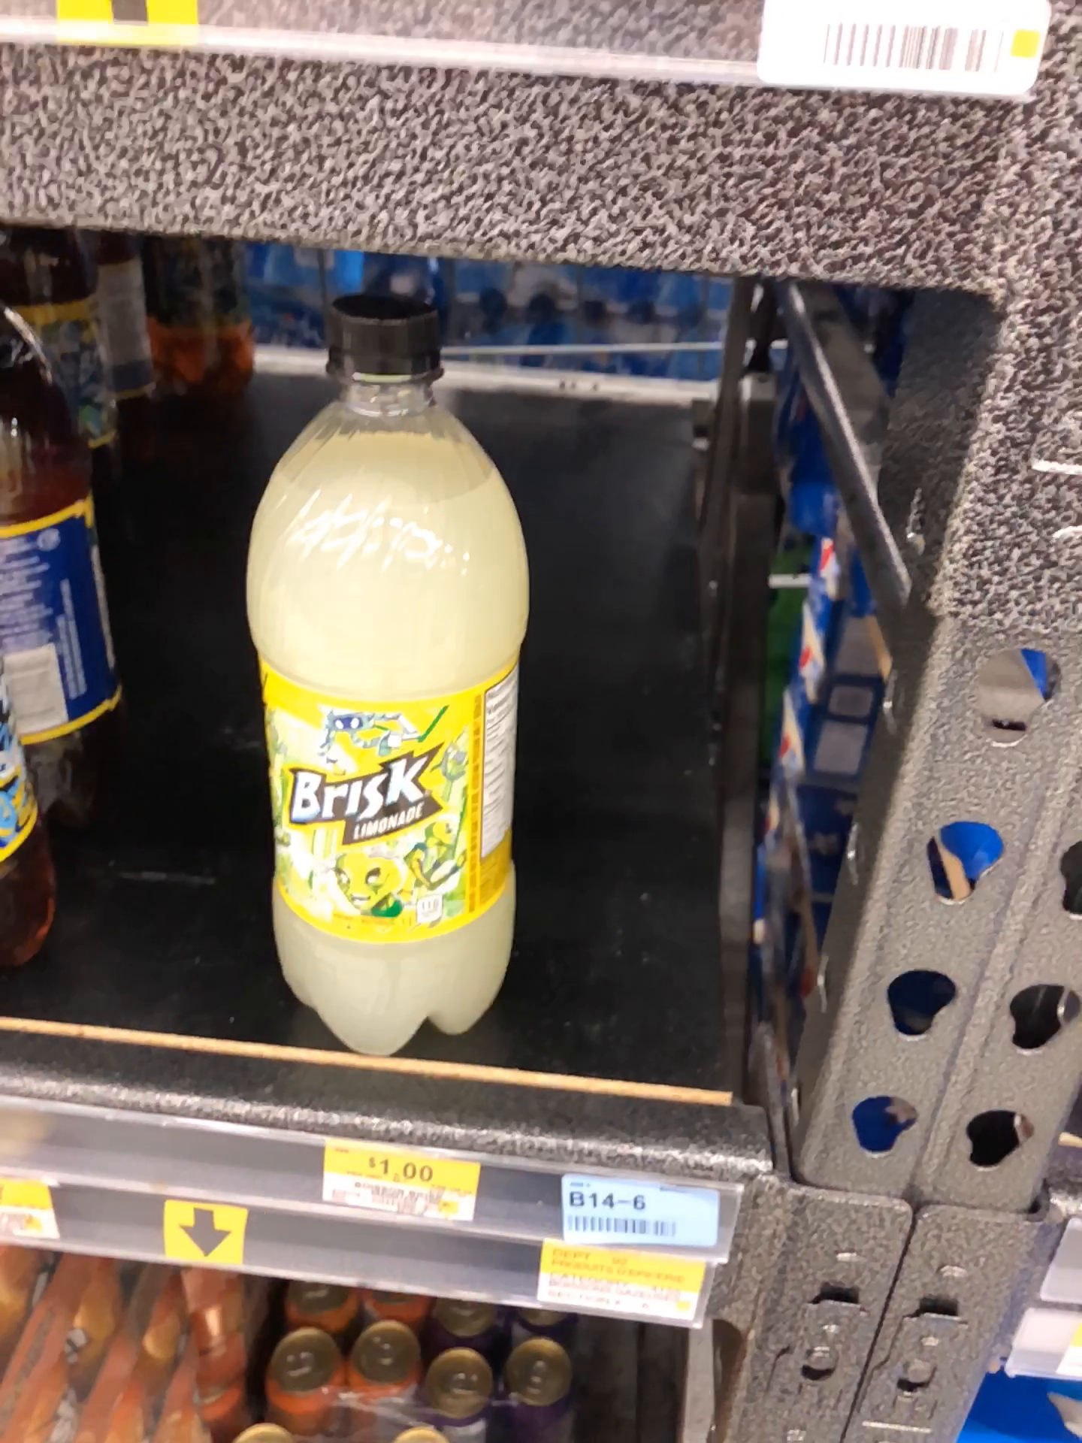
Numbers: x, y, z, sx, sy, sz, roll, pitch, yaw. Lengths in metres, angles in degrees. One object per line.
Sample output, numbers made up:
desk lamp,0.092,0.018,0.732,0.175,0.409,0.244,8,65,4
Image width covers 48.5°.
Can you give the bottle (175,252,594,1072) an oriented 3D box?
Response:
bottle,-0.042,-0.012,0.371,0.090,0.228,0.091,3,32,-2
